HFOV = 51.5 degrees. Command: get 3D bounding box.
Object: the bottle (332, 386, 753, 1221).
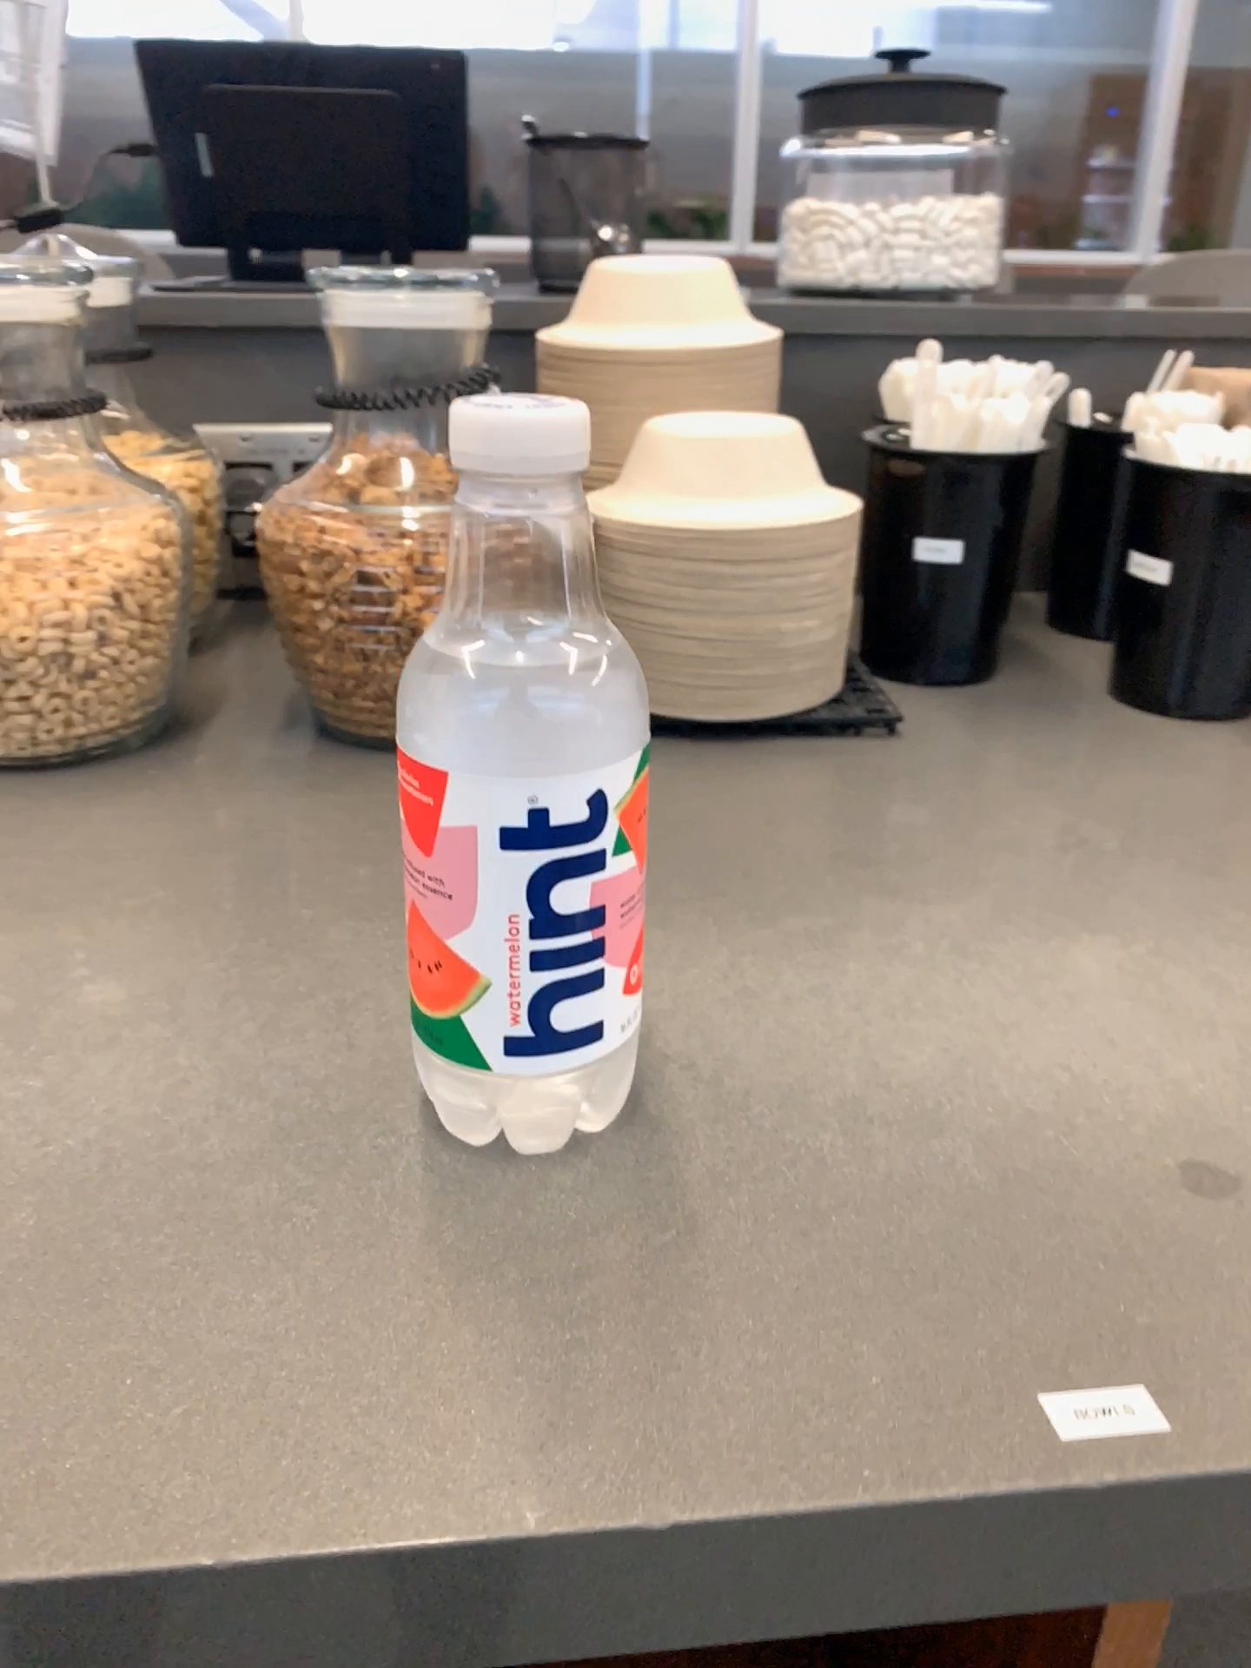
[{"bbox_3d":[-0.021,-0.010,0.346,0.070,0.199,0.070,1,24,-1],"label":"bottle"}]
